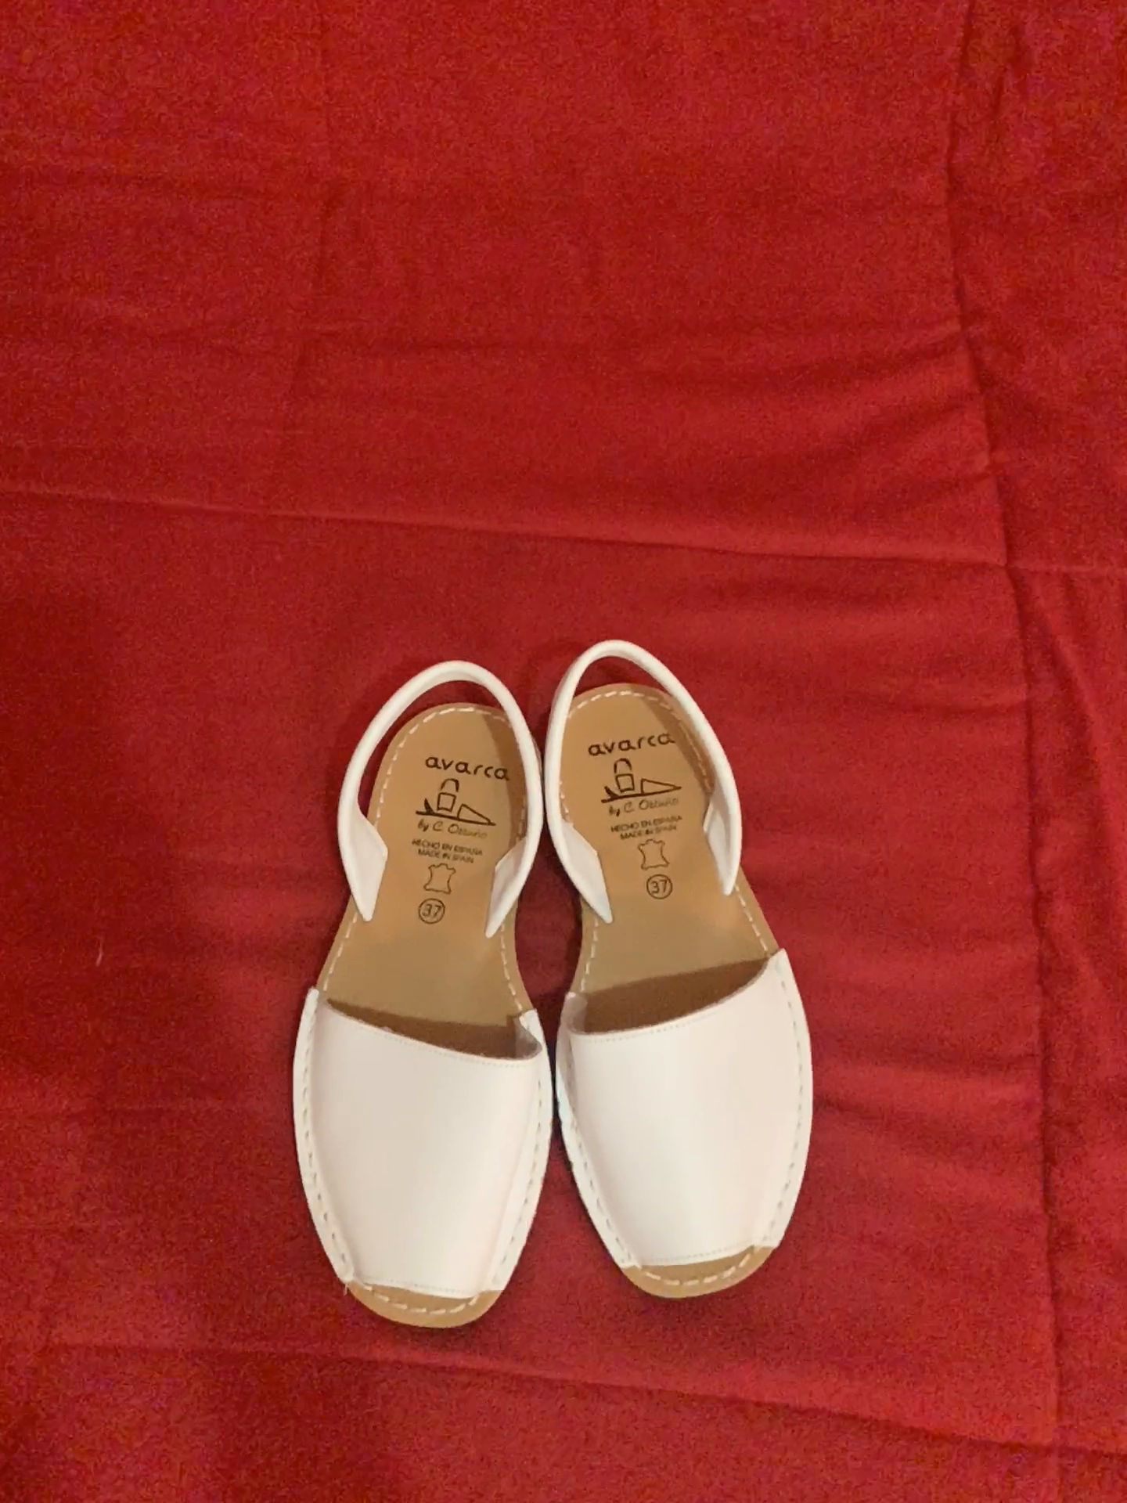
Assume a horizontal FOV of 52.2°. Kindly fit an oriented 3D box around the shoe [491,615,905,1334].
[{"bbox_3d":[0.040,0.077,0.445,0.103,0.063,0.249,-8,66,-3],"label":"shoe"}]

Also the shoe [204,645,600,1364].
[{"bbox_3d":[-0.049,0.087,0.440,0.108,0.063,0.248,4,66,2],"label":"shoe"}]
